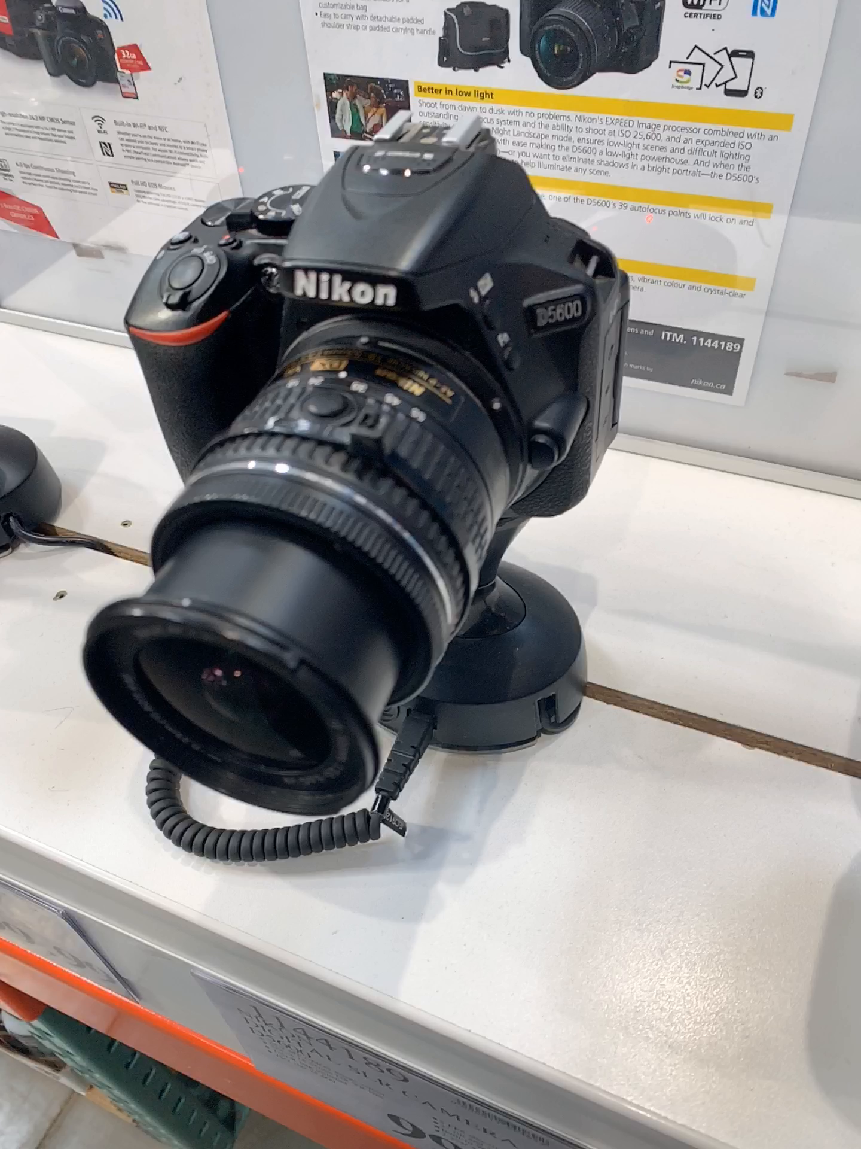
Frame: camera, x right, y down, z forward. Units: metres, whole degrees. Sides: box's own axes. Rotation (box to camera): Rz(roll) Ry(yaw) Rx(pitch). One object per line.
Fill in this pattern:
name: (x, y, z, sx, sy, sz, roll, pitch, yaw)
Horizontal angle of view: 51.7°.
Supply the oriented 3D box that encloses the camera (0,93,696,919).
camera: (-0.017, -0.029, 0.191, 0.111, 0.090, 0.141, 13, 48, 17)
